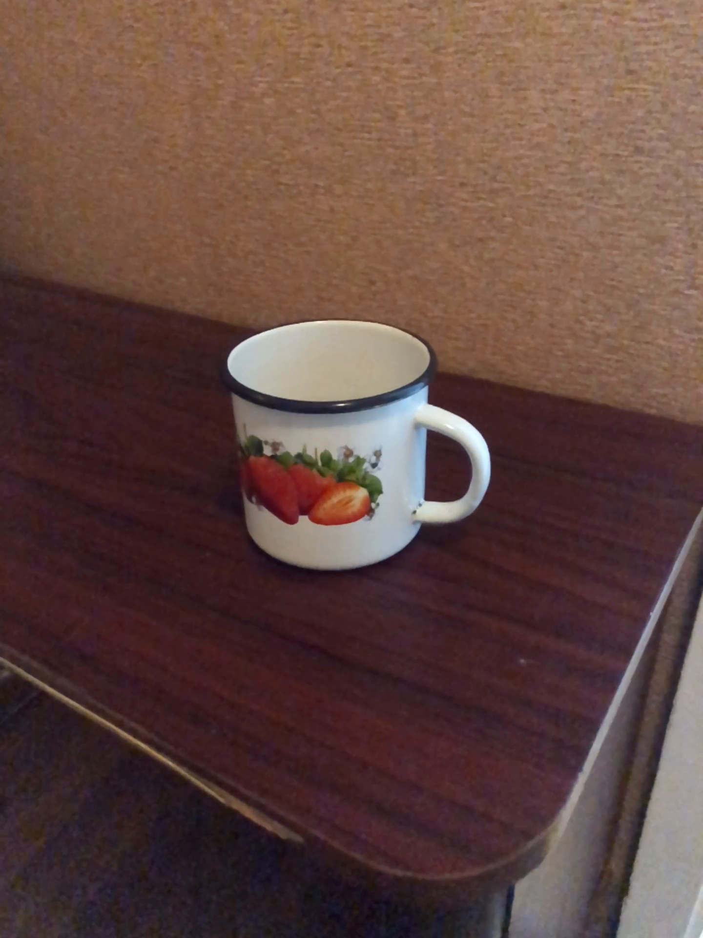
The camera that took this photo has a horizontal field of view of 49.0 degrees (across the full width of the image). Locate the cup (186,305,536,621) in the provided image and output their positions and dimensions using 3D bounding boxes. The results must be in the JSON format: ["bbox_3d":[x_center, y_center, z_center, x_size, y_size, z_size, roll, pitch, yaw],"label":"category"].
[{"bbox_3d":[0.009,-0.014,0.453,0.155,0.113,0.119,14,33,26],"label":"cup"}]
